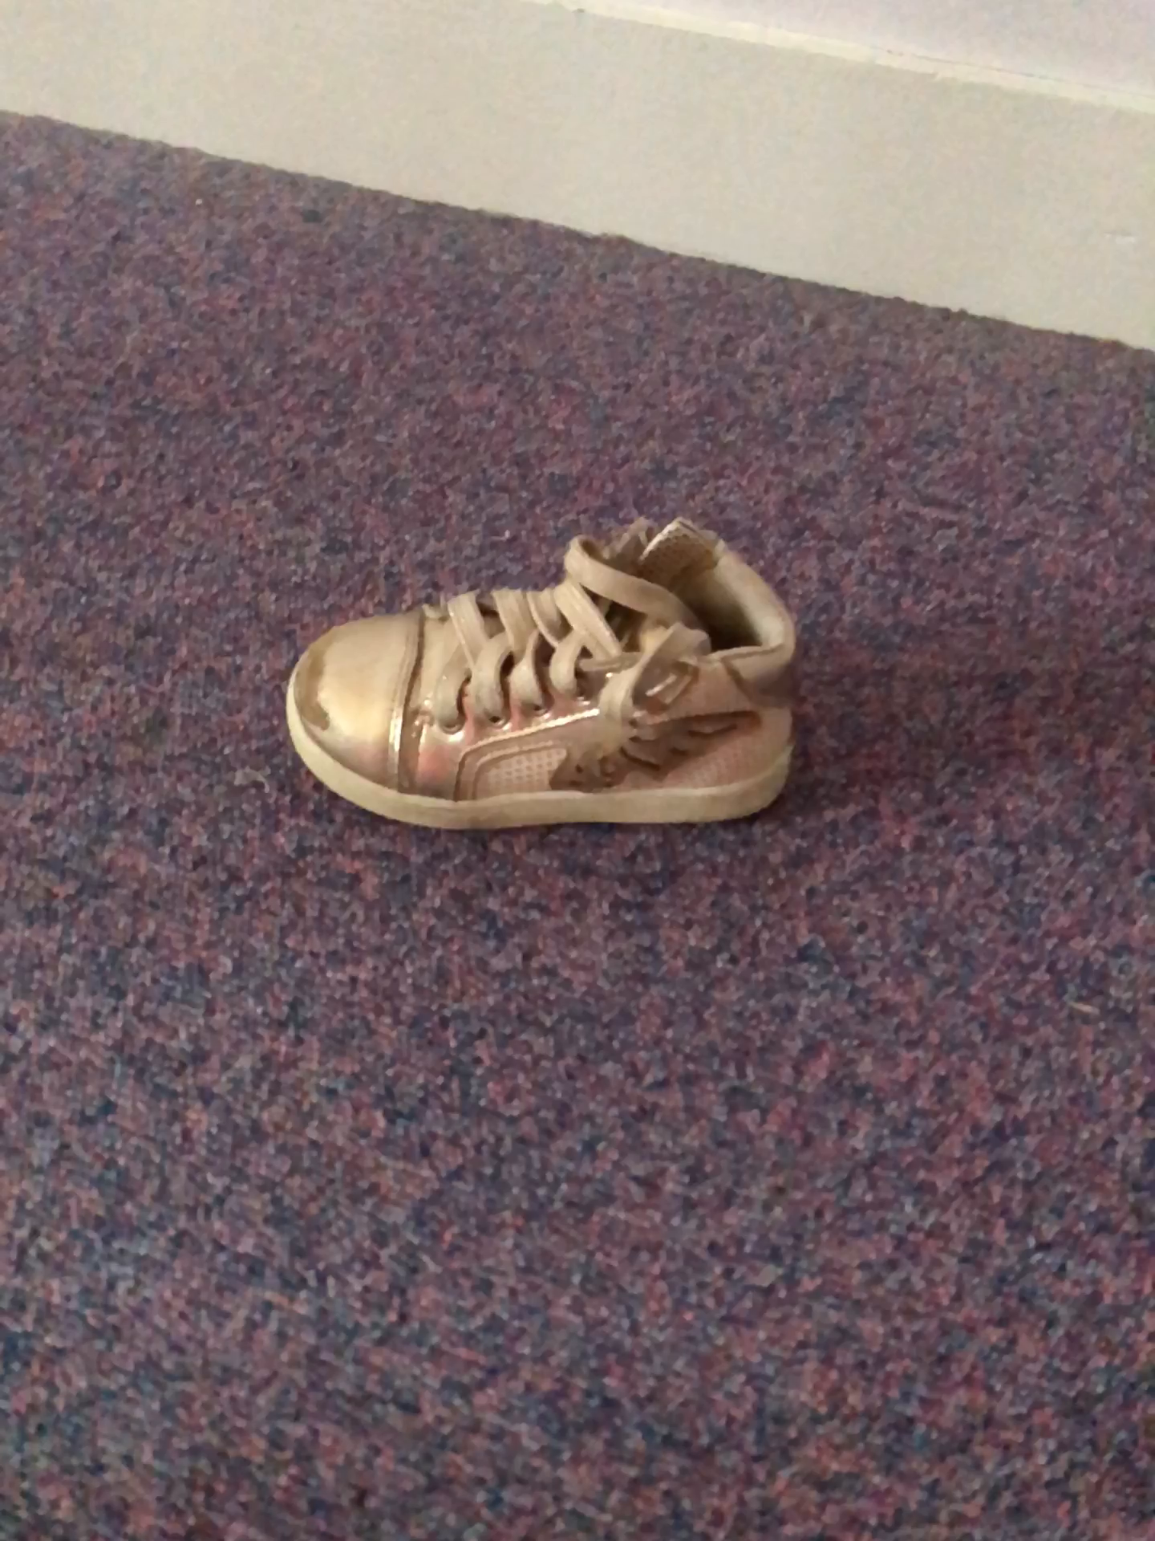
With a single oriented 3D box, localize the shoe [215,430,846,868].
[{"bbox_3d":[-0.009,-0.033,0.356,0.150,0.080,0.080,4,55,1],"label":"shoe"}]
